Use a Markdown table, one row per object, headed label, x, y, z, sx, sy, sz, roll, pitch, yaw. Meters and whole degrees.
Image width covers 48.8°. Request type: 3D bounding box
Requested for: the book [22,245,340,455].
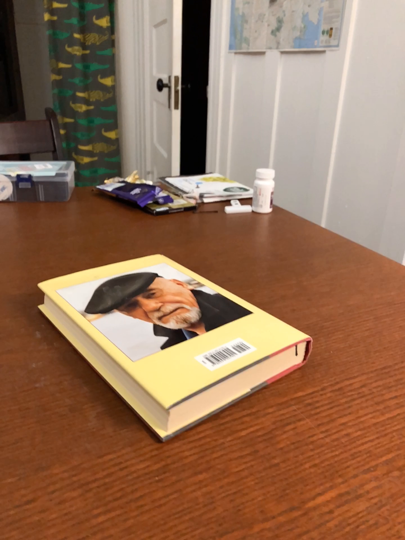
| label | x | y | z | sx | sy | sz | roll | pitch | yaw |
| --- | --- | --- | --- | --- | --- | --- | --- | --- | --- |
| book | -0.033 | 0.044 | 0.429 | 0.190 | 0.030 | 0.251 | -16 | 29 | -36 |
